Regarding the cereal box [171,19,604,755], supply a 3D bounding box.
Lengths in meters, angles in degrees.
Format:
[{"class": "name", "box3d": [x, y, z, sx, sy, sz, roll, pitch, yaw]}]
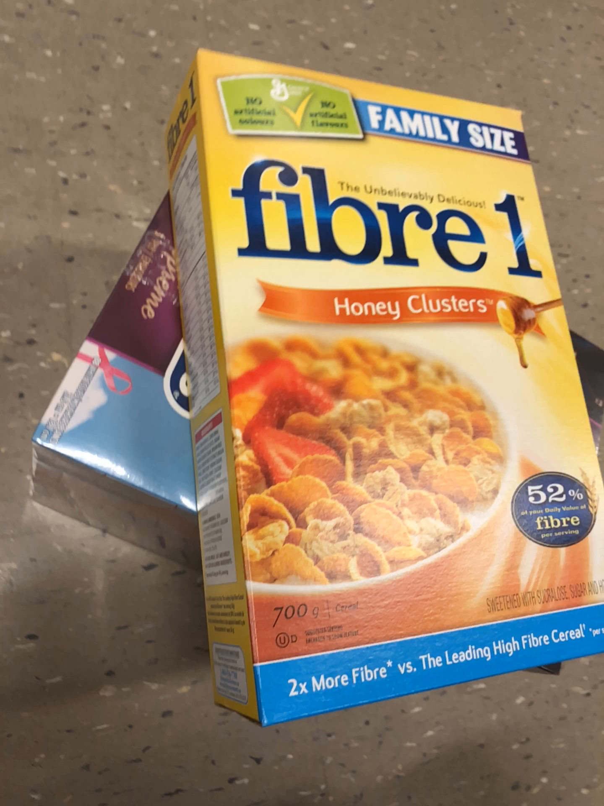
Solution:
[{"class": "cereal box", "box3d": [0.052, -0.019, 0.354, 0.201, 0.080, 0.320, -1, 73, -24]}]
